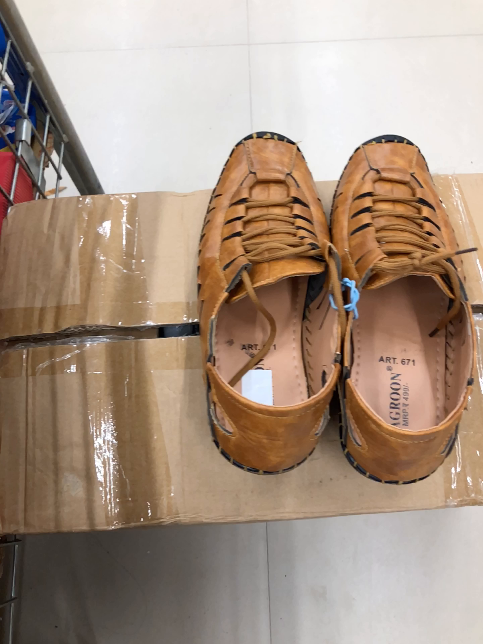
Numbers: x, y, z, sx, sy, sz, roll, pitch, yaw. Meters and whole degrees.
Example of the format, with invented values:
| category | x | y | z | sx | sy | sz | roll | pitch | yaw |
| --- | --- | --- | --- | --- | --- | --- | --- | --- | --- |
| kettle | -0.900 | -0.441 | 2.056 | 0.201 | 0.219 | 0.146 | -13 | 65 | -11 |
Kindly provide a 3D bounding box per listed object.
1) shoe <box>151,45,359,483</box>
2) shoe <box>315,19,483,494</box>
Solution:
| category | x | y | z | sx | sy | sz | roll | pitch | yaw |
| --- | --- | --- | --- | --- | --- | --- | --- | --- | --- |
| shoe | 0.013 | -0.039 | 0.387 | 0.110 | 0.120 | 0.291 | 1 | 71 | 3 |
| shoe | 0.114 | -0.044 | 0.369 | 0.110 | 0.120 | 0.301 | 3 | 71 | 3 |
